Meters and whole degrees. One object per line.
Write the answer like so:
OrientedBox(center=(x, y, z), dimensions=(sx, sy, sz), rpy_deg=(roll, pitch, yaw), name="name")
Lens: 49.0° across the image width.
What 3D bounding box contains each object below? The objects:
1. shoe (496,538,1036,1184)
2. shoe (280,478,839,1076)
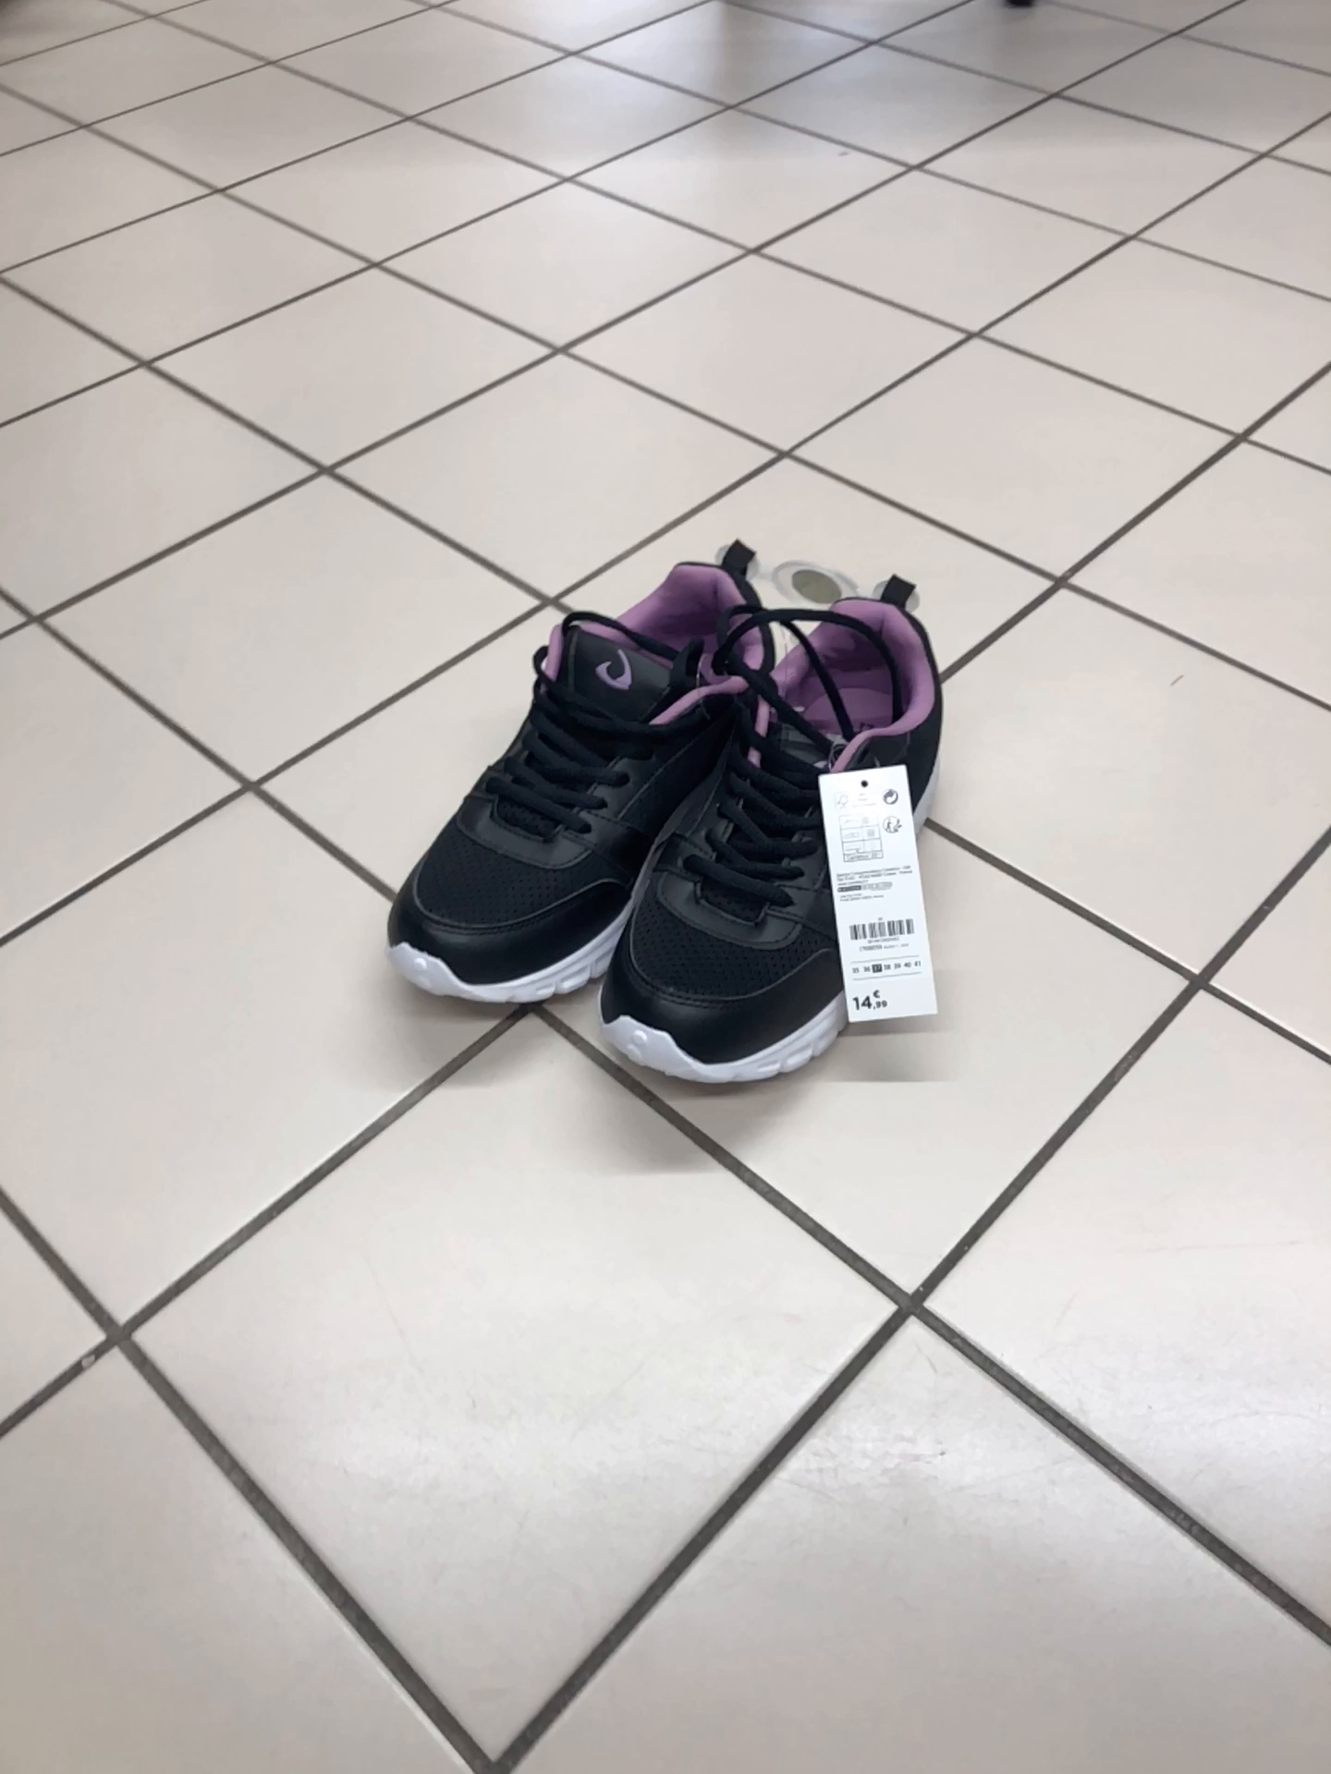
OrientedBox(center=(0.049, -0.024, 0.609), dimensions=(0.110, 0.090, 0.261), rpy_deg=(24, 52, 17), name="shoe")
OrientedBox(center=(-0.032, -0.061, 0.635), dimensions=(0.110, 0.090, 0.261), rpy_deg=(21, 51, 19), name="shoe")
